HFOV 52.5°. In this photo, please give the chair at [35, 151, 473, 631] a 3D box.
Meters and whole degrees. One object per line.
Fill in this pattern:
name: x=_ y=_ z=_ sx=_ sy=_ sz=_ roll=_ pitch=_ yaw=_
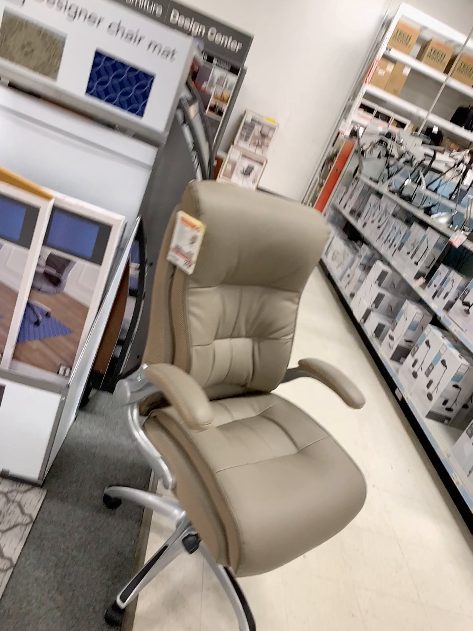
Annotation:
chair: x=0.030 y=0.296 z=1.358 sx=0.712 sy=1.145 sz=0.722 roll=1 pitch=31 yaw=-44
